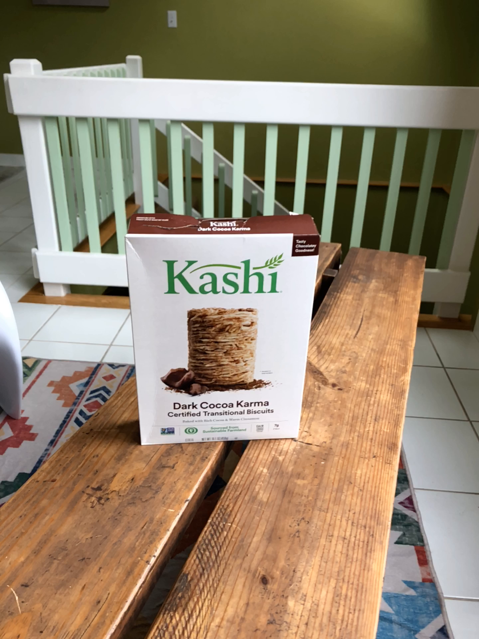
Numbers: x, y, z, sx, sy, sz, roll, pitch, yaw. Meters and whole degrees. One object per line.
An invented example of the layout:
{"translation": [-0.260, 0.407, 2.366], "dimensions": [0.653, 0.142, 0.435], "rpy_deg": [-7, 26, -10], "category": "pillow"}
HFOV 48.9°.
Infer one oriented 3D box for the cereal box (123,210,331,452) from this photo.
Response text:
{"translation": [-0.018, 0.021, 0.599], "dimensions": [0.200, 0.278, 0.060], "rpy_deg": [-1, 30, -7], "category": "cereal box"}
